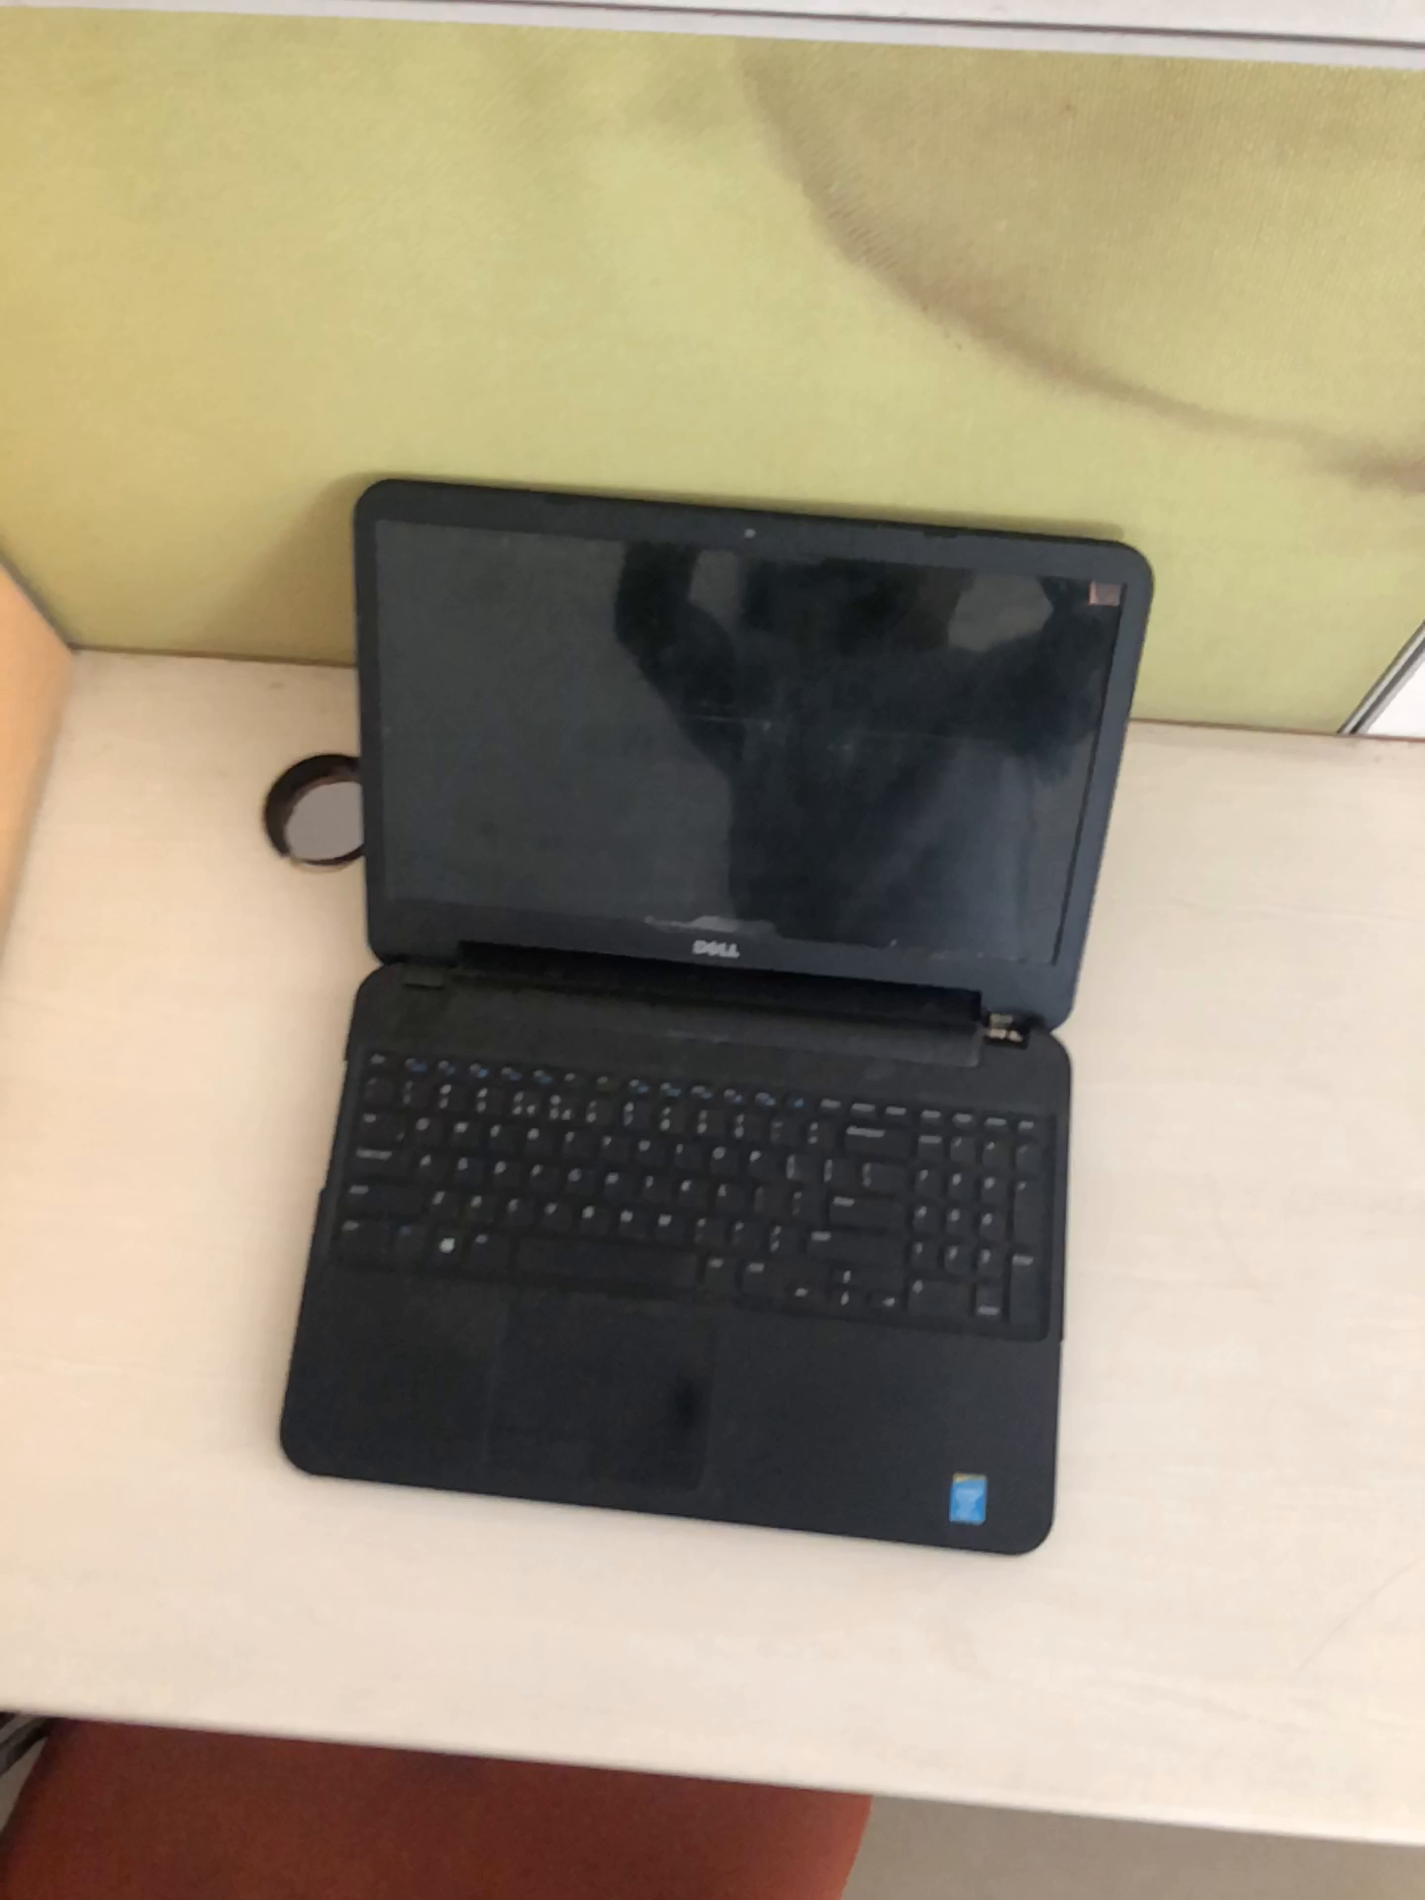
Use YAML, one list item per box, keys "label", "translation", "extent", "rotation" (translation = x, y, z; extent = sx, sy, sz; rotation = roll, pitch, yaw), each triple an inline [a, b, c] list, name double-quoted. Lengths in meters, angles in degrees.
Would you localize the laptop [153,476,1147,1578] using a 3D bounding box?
- label: "laptop"
  translation: [-0.006, 0.032, 0.711]
  extent: [0.355, 0.158, 0.427]
  rotation: [5, 73, 2]
